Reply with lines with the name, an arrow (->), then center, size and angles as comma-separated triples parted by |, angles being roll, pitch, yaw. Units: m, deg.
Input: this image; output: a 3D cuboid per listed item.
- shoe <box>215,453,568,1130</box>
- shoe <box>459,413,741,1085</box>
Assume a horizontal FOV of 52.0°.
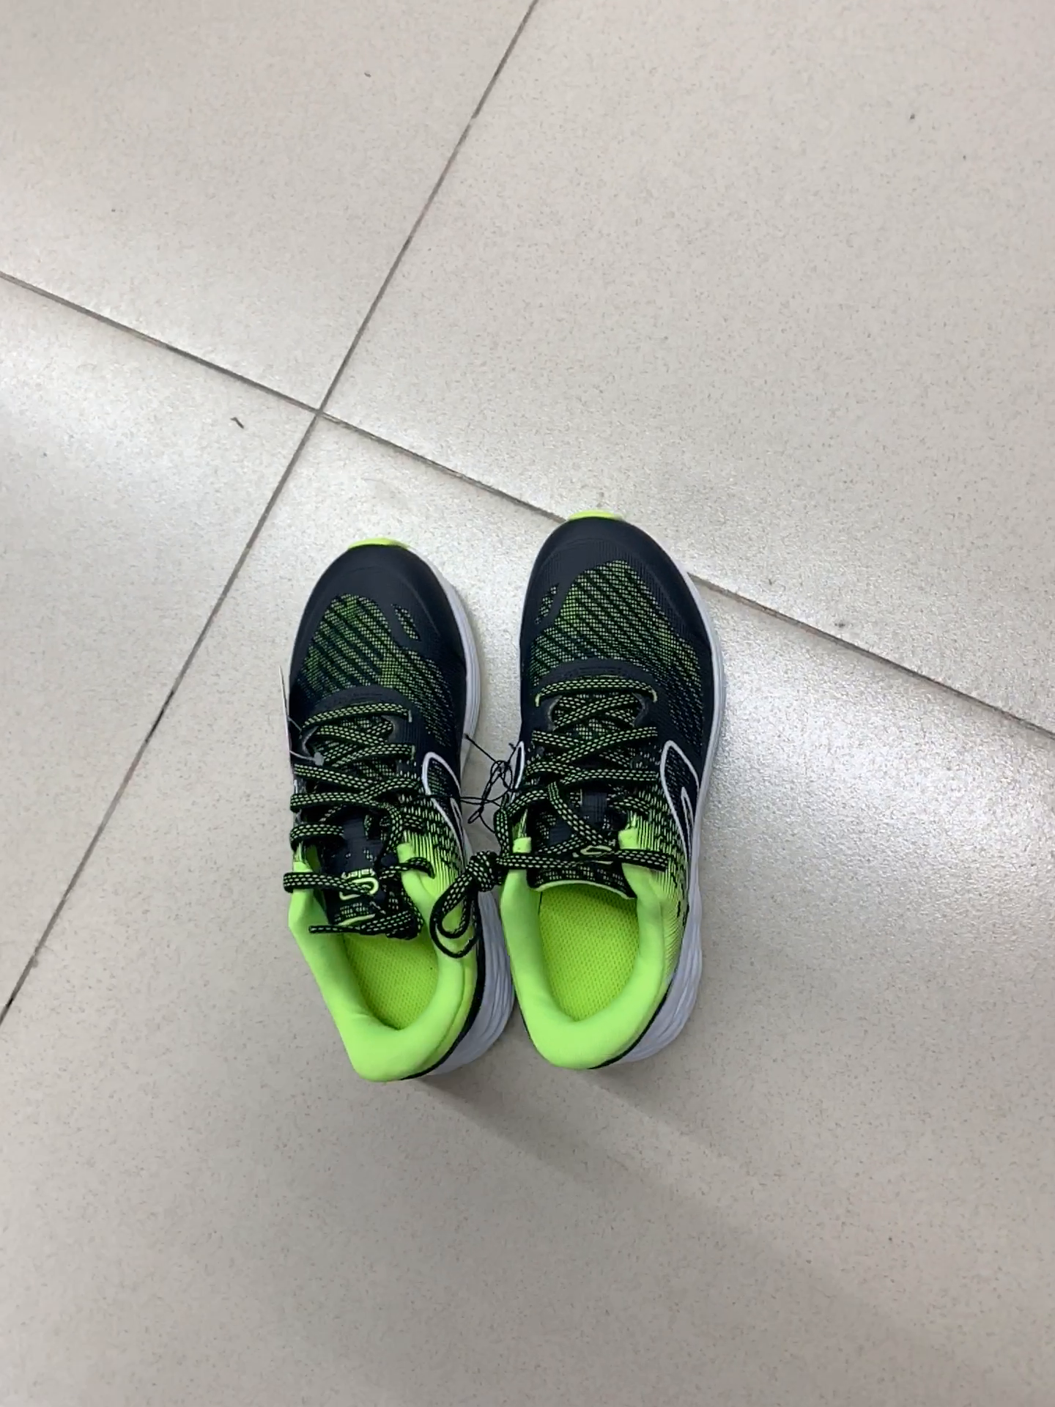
shoe -> -0.053, 0.037, 0.455 | 0.090, 0.110, 0.240 | -10, 80, 10
shoe -> 0.033, 0.021, 0.447 | 0.090, 0.110, 0.240 | -4, 81, 11
